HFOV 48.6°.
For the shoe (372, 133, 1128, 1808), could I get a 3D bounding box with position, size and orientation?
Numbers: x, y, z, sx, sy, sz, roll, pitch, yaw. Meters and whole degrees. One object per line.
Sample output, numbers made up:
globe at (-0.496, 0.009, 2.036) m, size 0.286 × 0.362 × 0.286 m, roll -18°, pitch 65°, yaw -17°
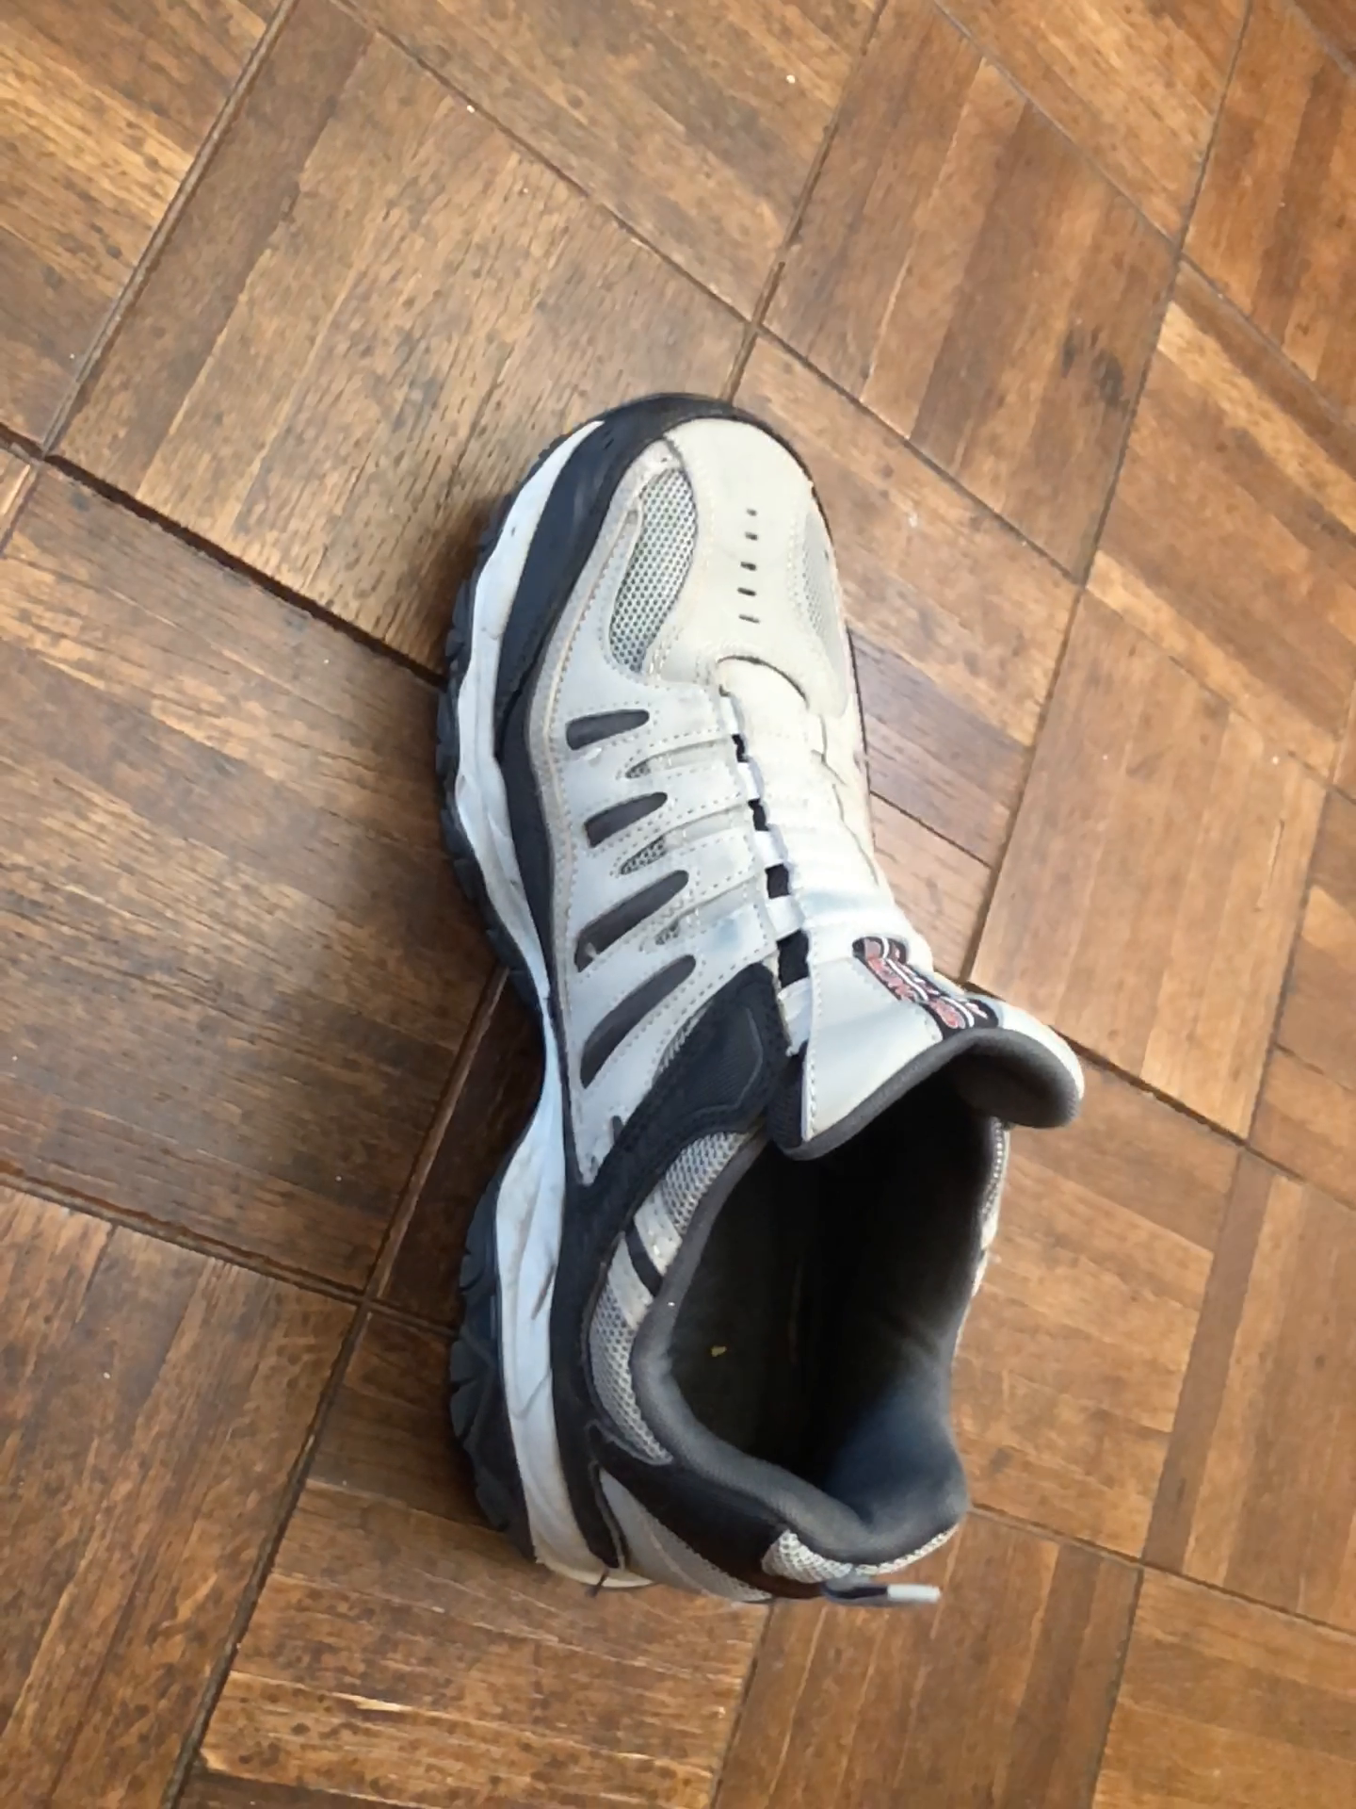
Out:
shoe at (0.011, 0.015, 0.380) m, size 0.121 × 0.149 × 0.320 m, roll 4°, pitch 84°, yaw -32°
